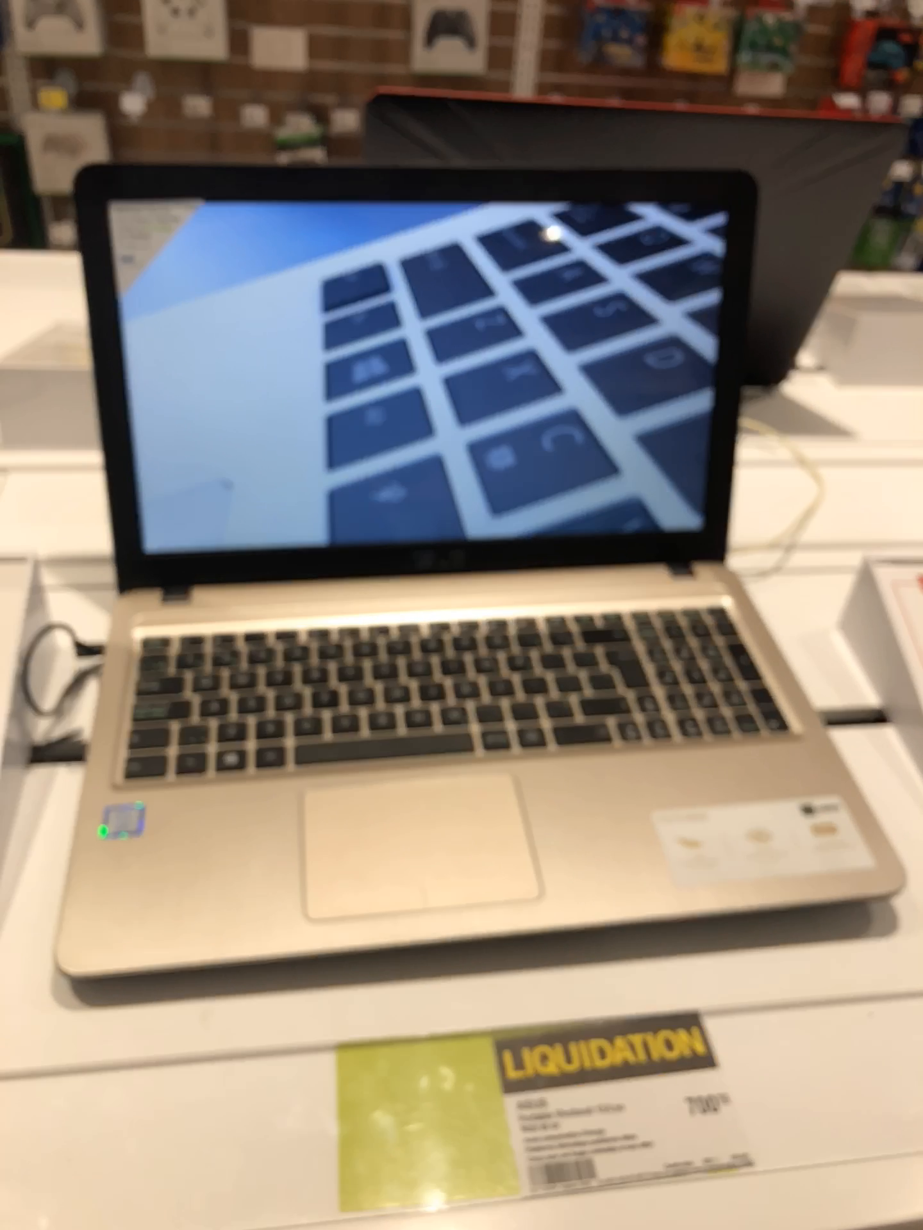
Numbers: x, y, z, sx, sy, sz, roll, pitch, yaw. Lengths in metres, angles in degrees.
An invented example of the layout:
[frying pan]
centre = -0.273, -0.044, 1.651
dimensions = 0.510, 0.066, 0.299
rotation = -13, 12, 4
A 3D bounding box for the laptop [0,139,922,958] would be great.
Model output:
[laptop]
centre = 0.002, -0.062, 0.518
dimensions = 0.370, 0.204, 0.339
rotation = -2, 42, -10
